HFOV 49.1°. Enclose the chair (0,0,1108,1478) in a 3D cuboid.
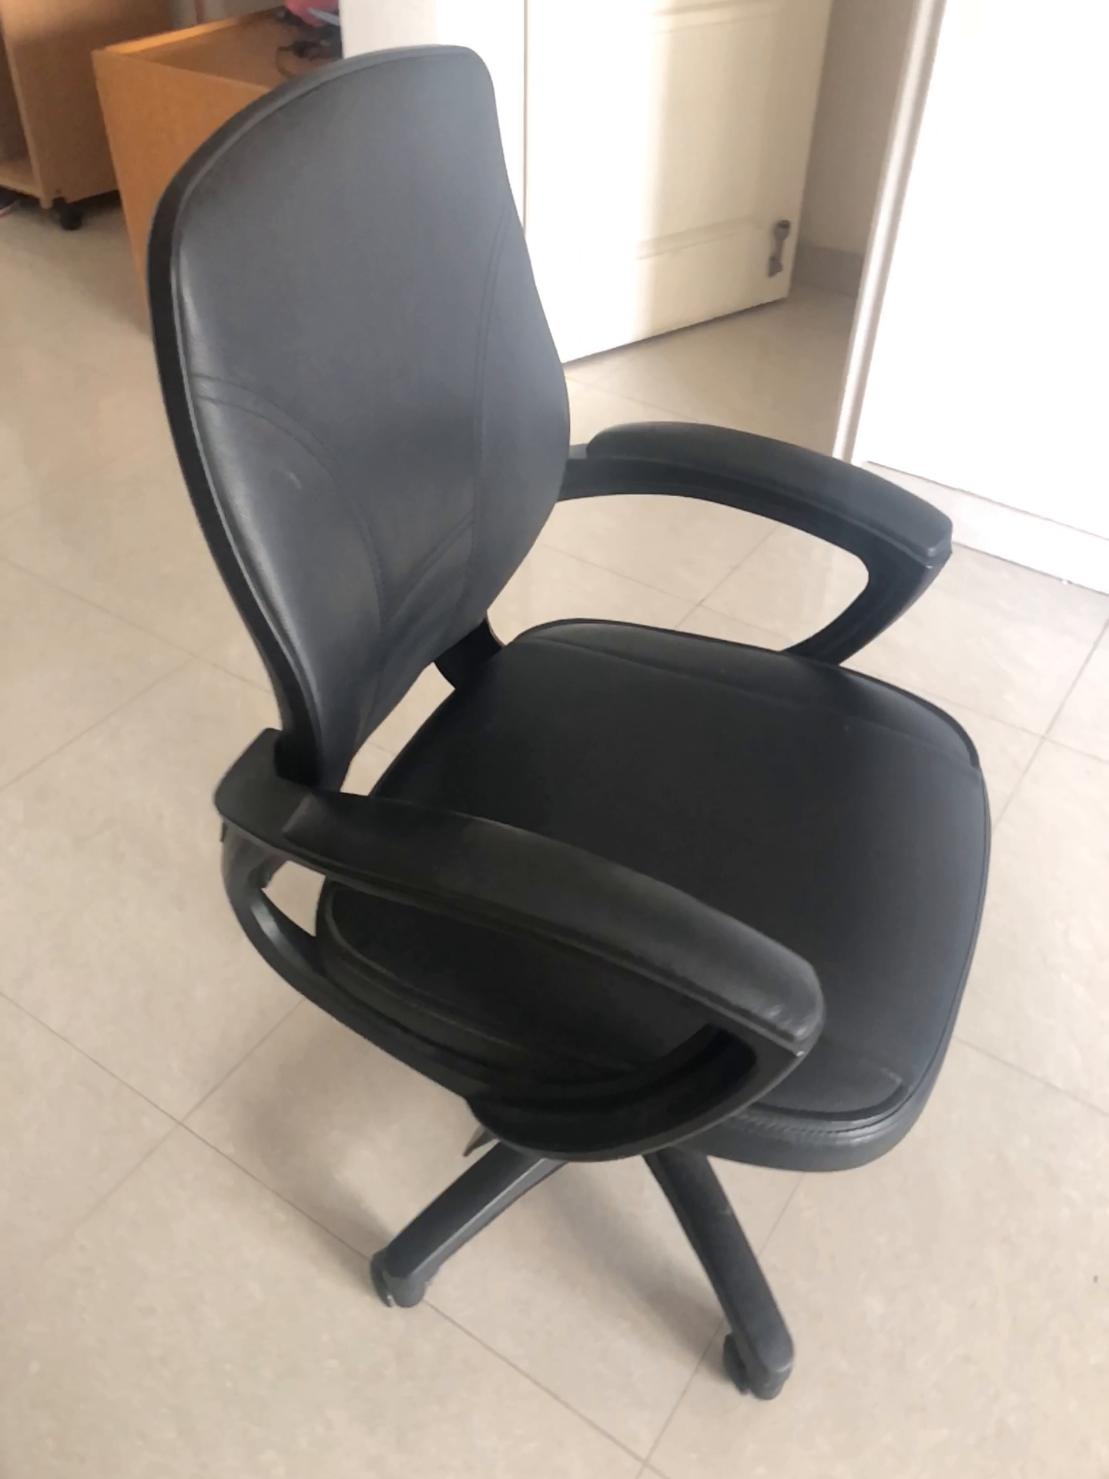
[{"bbox_3d":[0.091,0.012,1.008,0.631,0.953,0.704,17,44,17],"label":"chair"}]
